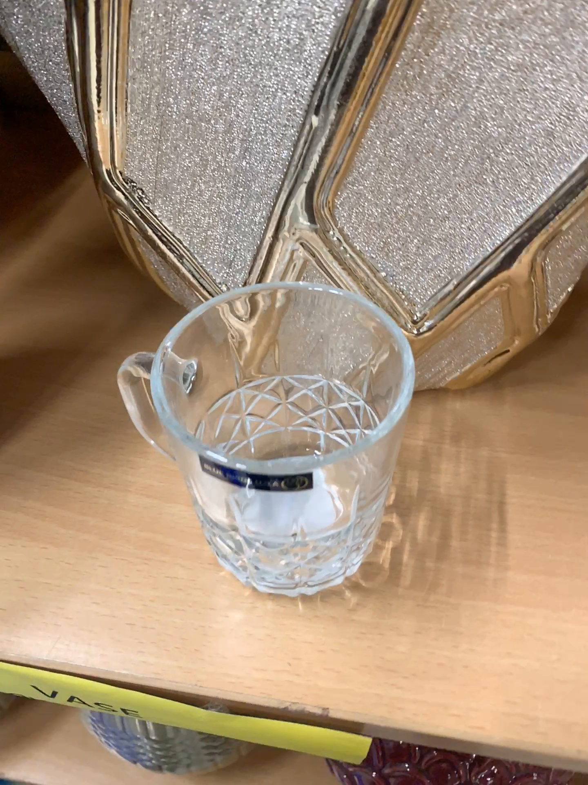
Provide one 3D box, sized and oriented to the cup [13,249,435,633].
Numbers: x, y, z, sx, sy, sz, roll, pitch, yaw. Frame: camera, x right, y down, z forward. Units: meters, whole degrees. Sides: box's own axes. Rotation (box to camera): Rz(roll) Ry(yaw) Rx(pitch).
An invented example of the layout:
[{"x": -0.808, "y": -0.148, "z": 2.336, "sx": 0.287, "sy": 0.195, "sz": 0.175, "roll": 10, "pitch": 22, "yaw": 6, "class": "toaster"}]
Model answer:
[{"x": -0.014, "y": 0.016, "z": 0.203, "sx": 0.100, "sy": 0.090, "sz": 0.070, "roll": 9, "pitch": 48, "yaw": 10, "class": "cup"}]
